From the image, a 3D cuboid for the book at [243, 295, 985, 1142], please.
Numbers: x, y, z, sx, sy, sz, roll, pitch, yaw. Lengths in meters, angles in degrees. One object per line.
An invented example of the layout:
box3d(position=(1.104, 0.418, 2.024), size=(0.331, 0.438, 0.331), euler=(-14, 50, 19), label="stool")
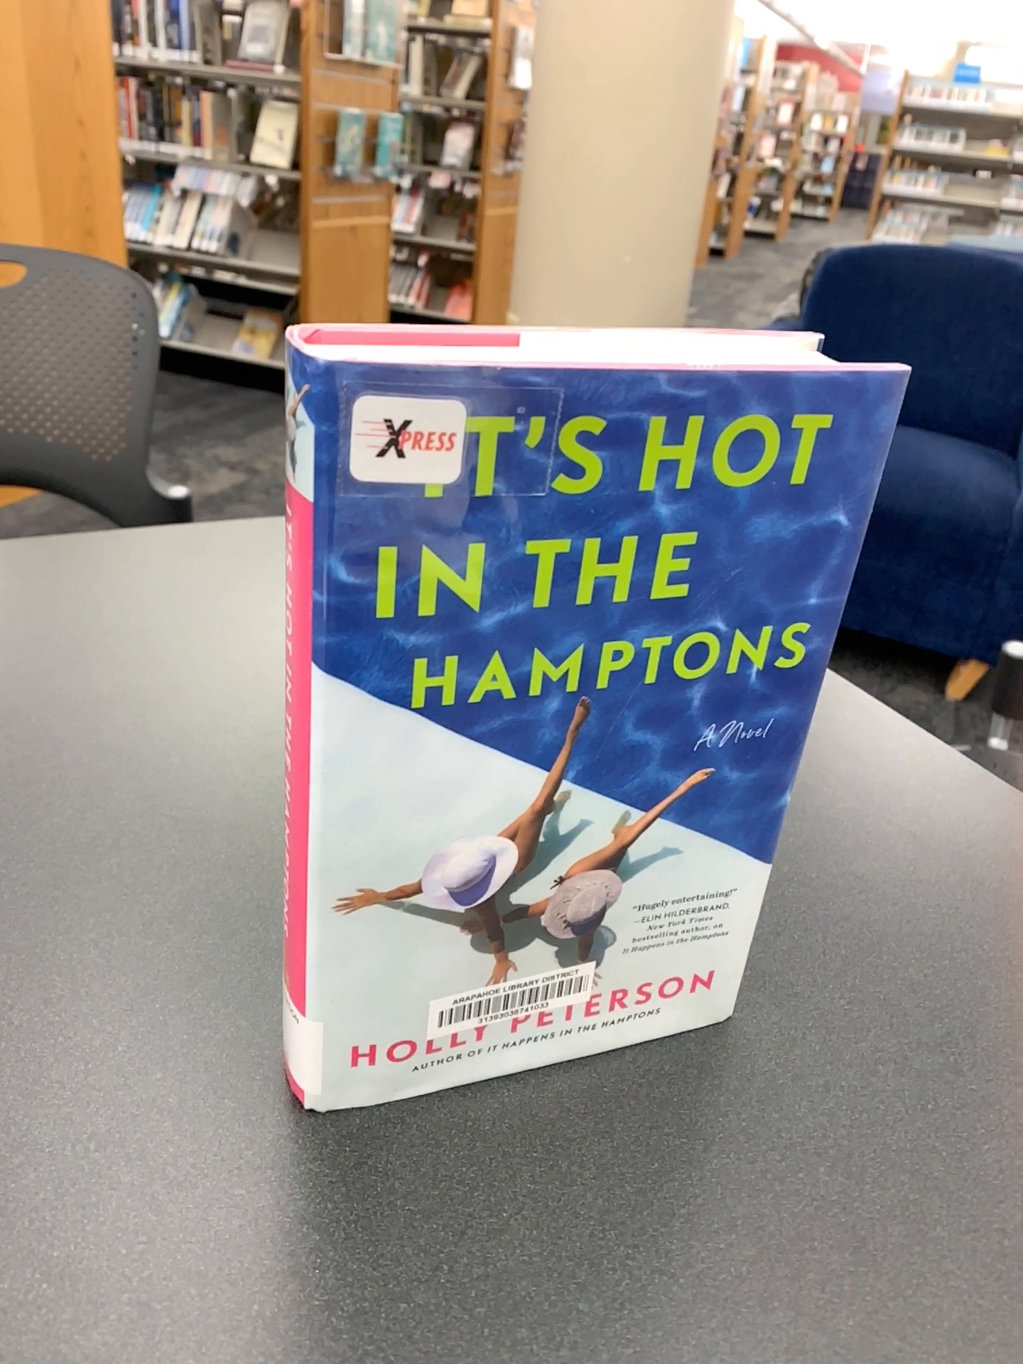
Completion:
box3d(position=(0.016, 0.014, 0.298), size=(0.170, 0.219, 0.050), euler=(-6, 31, -23), label="book")
